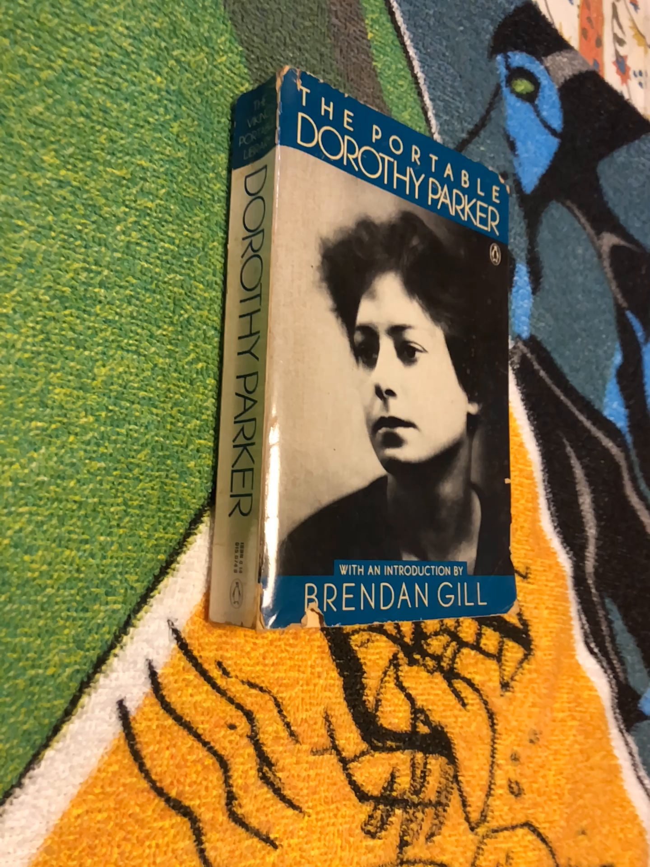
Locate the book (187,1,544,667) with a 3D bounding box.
[{"bbox_3d":[0.025,-0.026,0.273,0.141,0.040,0.200,9,79,-42],"label":"book"}]
